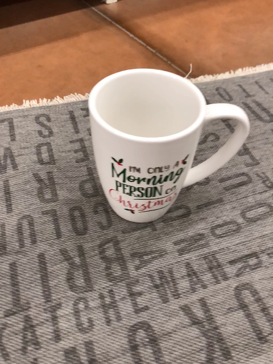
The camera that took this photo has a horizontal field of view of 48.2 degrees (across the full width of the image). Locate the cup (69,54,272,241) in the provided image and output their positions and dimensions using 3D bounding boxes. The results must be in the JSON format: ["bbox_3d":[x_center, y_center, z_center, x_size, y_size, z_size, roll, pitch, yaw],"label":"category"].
[{"bbox_3d":[0.026,-0.029,0.249,0.140,0.100,0.090,-9,52,-9],"label":"cup"}]
